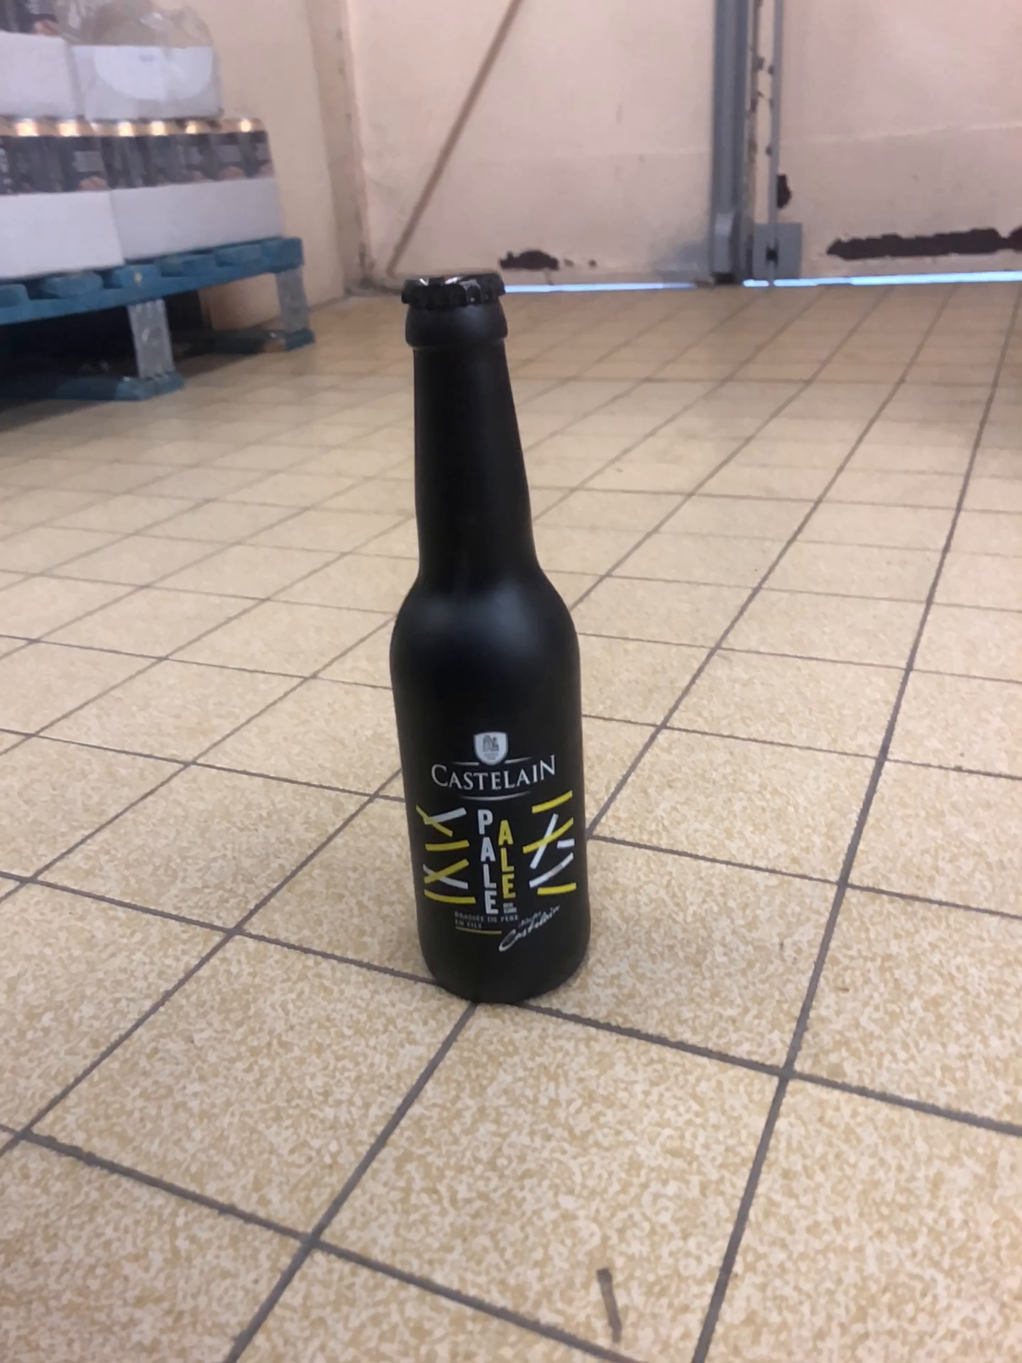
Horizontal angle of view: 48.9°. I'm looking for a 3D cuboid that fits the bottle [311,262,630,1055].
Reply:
[{"bbox_3d":[-0.009,-0.004,0.335,0.070,0.219,0.070,-3,23,1],"label":"bottle"}]
